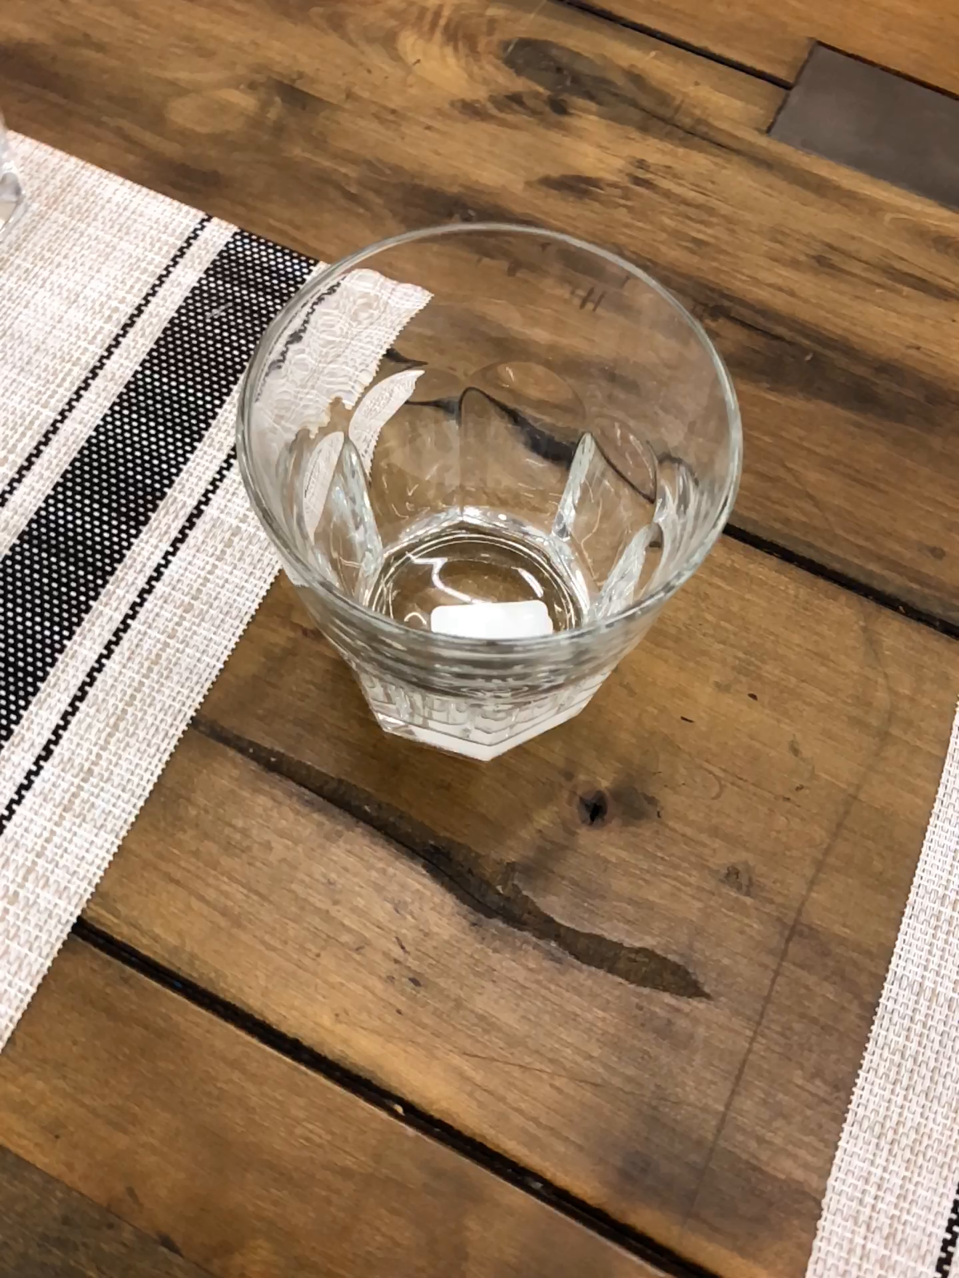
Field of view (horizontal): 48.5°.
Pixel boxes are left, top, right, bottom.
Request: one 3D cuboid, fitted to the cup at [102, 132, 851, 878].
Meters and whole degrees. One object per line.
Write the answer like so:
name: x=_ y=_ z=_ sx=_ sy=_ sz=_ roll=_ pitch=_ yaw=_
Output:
cup: x=0.000 y=-0.023 z=0.214 sx=0.087 sy=0.081 sz=0.090 roll=1 pitch=66 yaw=-2
